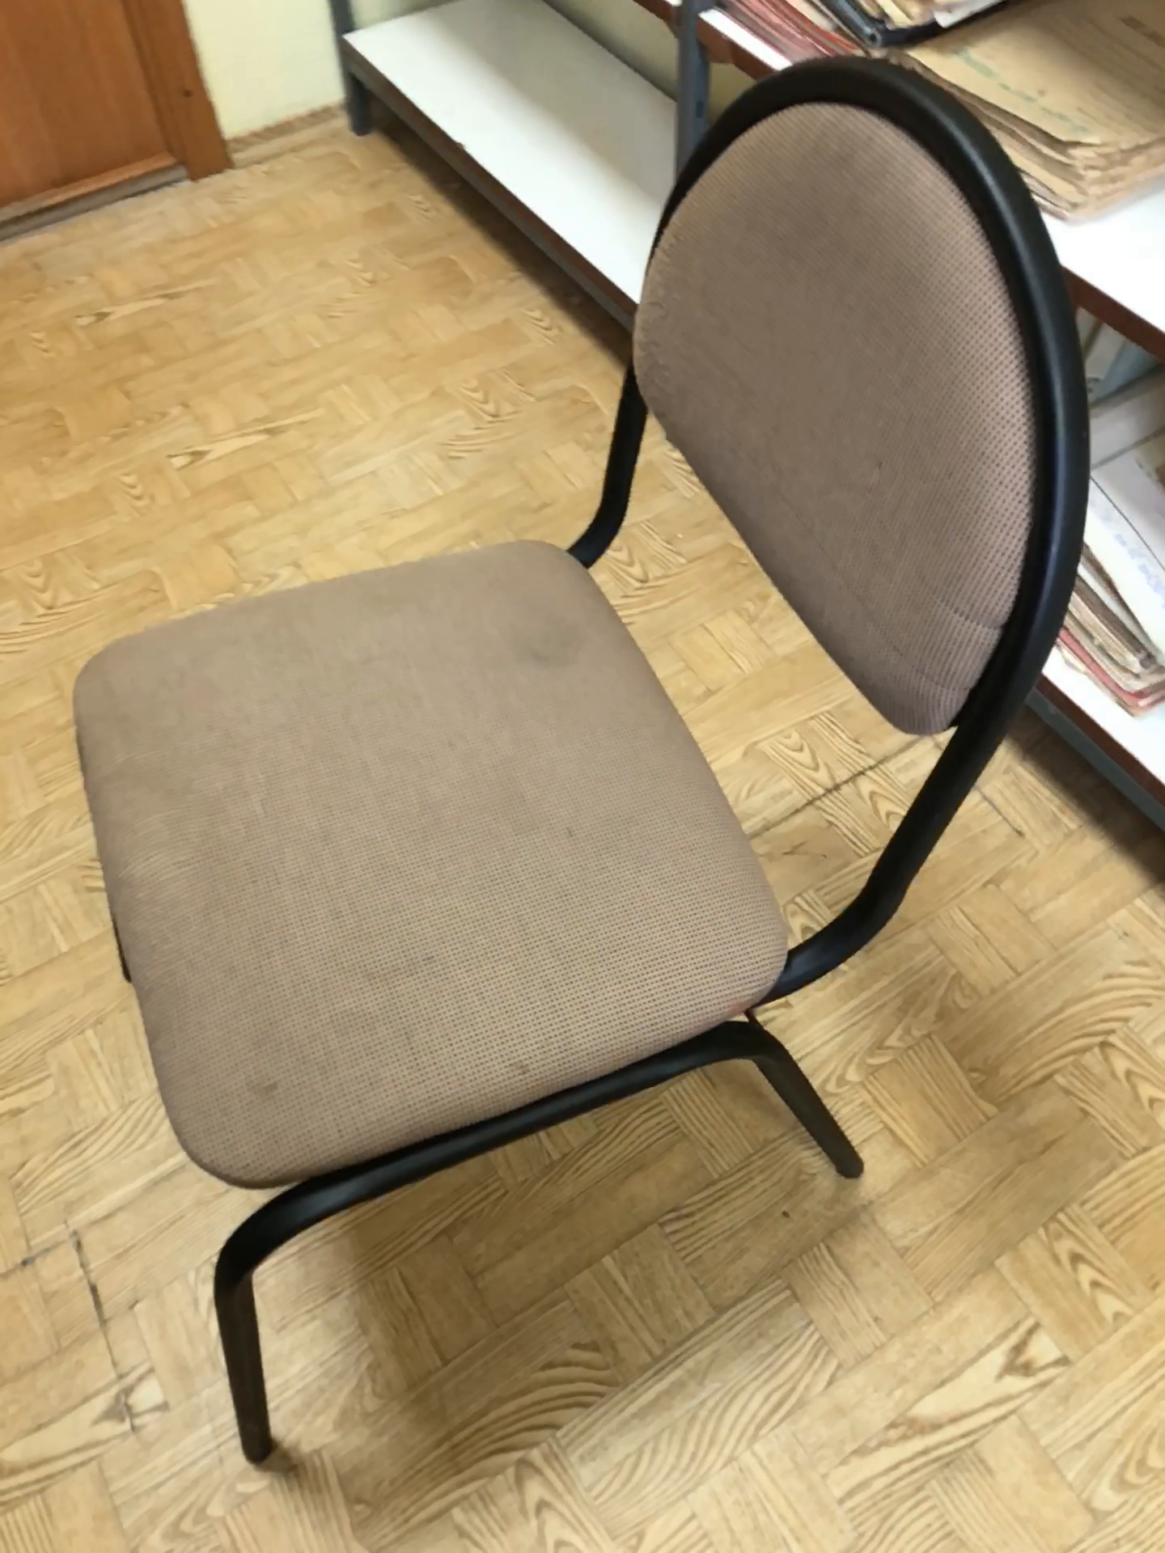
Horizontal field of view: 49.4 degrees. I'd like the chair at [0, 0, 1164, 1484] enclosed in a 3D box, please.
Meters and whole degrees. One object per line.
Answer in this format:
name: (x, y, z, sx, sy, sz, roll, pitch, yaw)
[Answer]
chair: (-0.092, 0.017, 0.797, 0.574, 0.768, 0.480, -21, 56, -12)
